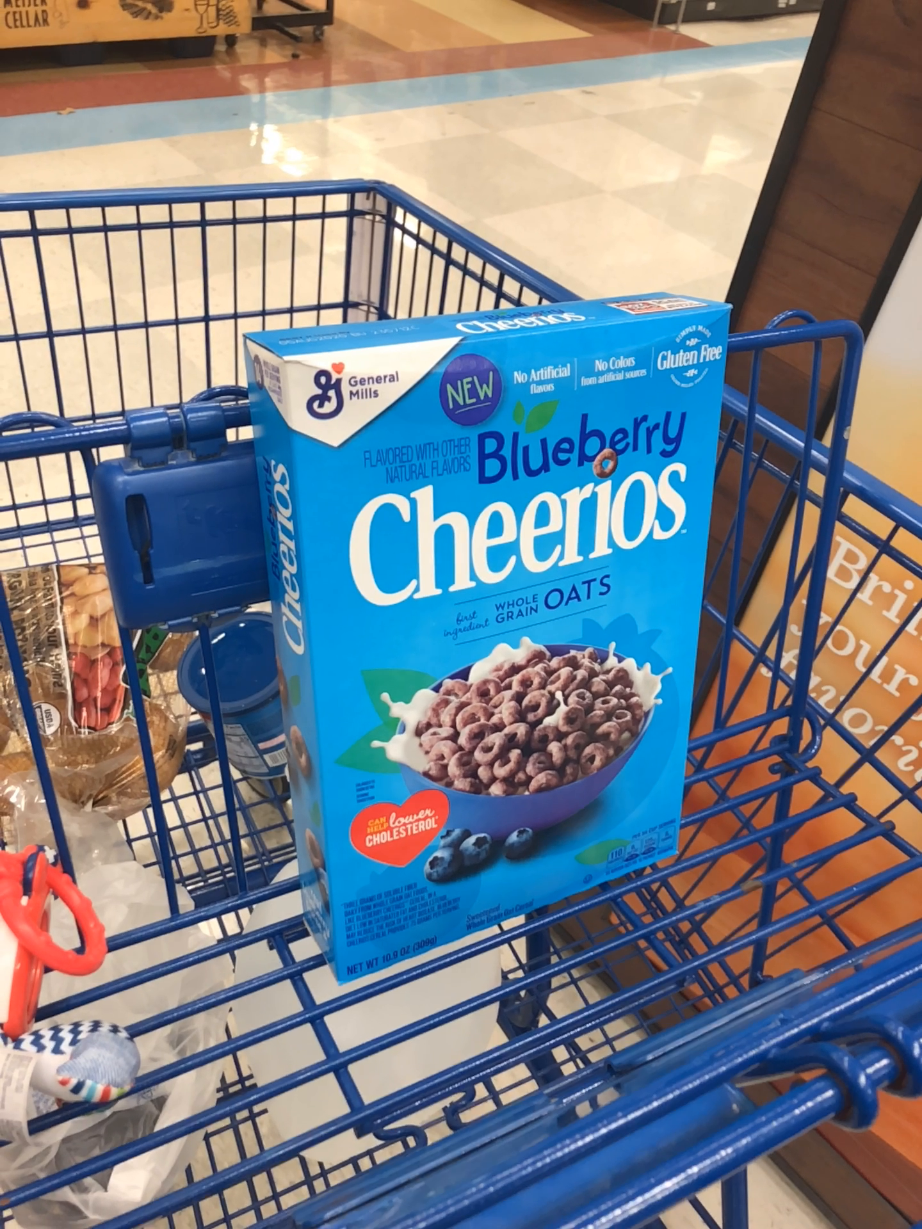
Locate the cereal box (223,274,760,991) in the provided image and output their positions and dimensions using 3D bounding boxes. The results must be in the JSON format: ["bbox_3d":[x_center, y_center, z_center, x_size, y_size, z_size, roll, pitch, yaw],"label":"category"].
[{"bbox_3d":[0.017,0.004,0.455,0.200,0.280,0.070,-13,28,-24],"label":"cereal box"}]
